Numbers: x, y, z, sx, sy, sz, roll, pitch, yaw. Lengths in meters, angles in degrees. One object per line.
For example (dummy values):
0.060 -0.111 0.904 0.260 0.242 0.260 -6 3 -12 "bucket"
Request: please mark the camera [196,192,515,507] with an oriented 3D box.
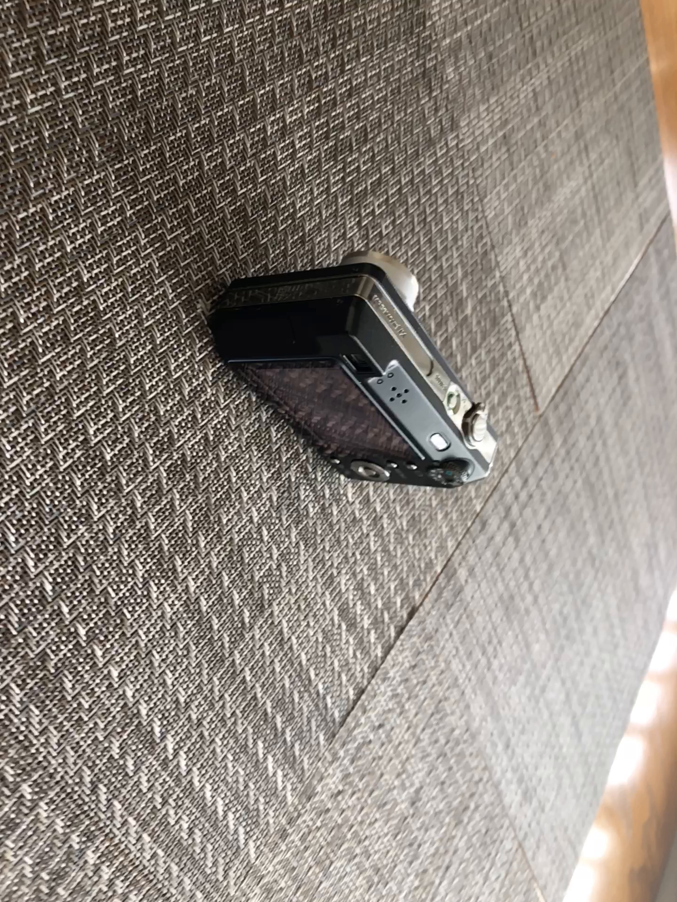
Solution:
0.011 -0.028 0.251 0.095 0.052 0.049 46 58 -43 "camera"
